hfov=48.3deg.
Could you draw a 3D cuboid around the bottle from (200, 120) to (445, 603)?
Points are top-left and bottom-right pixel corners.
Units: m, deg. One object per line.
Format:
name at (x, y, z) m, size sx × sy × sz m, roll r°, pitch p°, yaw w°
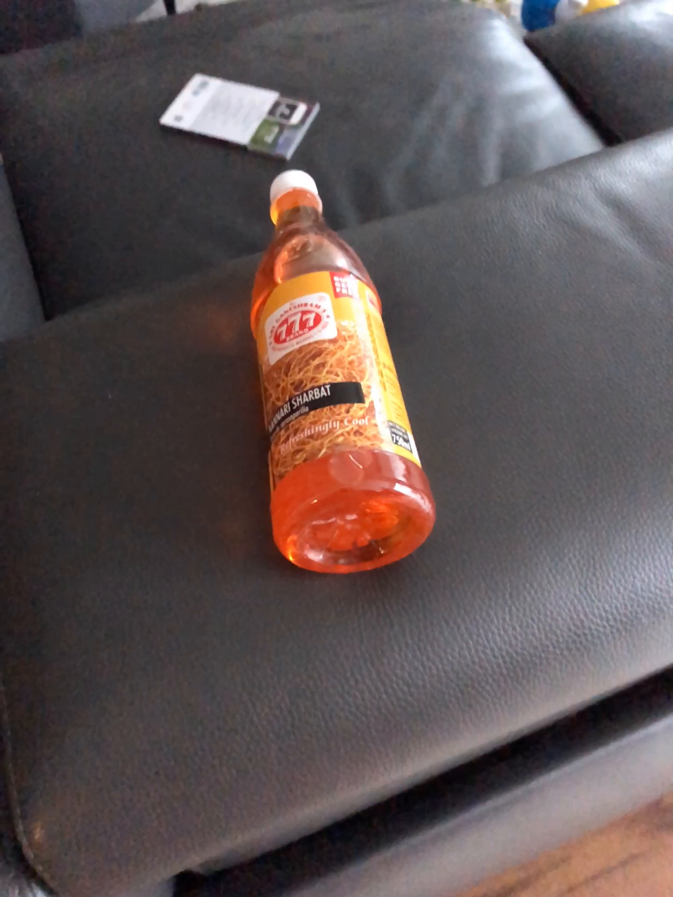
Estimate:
bottle at (-0.019, -0.065, 0.417) m, size 0.080 × 0.070 × 0.281 m, roll -18°, pitch 51°, yaw 10°
